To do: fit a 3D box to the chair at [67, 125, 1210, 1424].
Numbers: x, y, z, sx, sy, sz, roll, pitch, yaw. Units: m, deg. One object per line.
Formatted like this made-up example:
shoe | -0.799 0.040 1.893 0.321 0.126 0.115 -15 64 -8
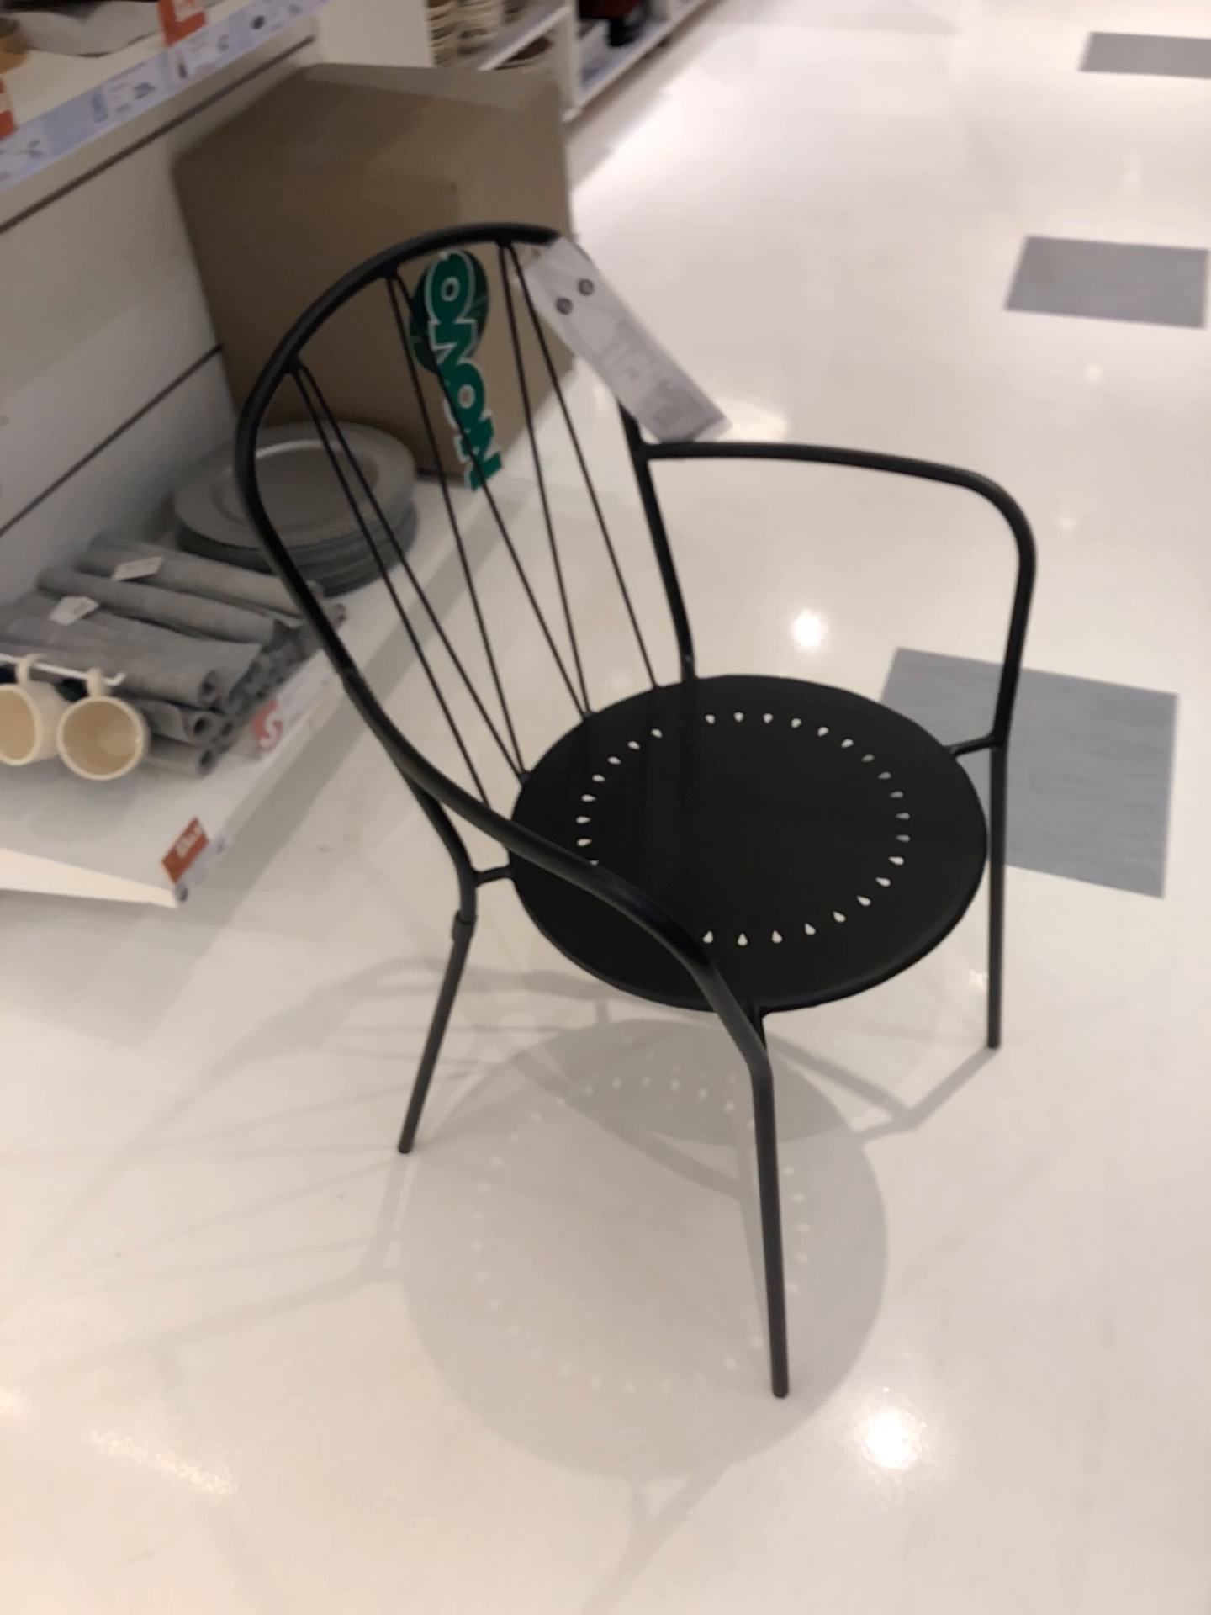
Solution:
chair | 0.064 -0.022 1.133 0.561 0.814 0.513 25 51 27
